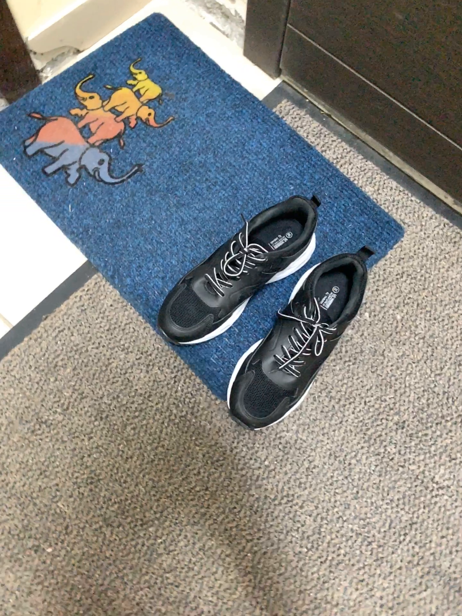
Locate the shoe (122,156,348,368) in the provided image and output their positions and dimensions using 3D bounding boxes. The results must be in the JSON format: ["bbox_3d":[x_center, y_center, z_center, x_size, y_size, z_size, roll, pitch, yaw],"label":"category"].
[{"bbox_3d":[0.007,-0.058,0.606,0.260,0.100,0.110,-39,77,-14],"label":"shoe"}]

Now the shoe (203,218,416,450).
[{"bbox_3d":[0.093,0.033,0.584,0.110,0.100,0.260,39,74,10],"label":"shoe"}]
